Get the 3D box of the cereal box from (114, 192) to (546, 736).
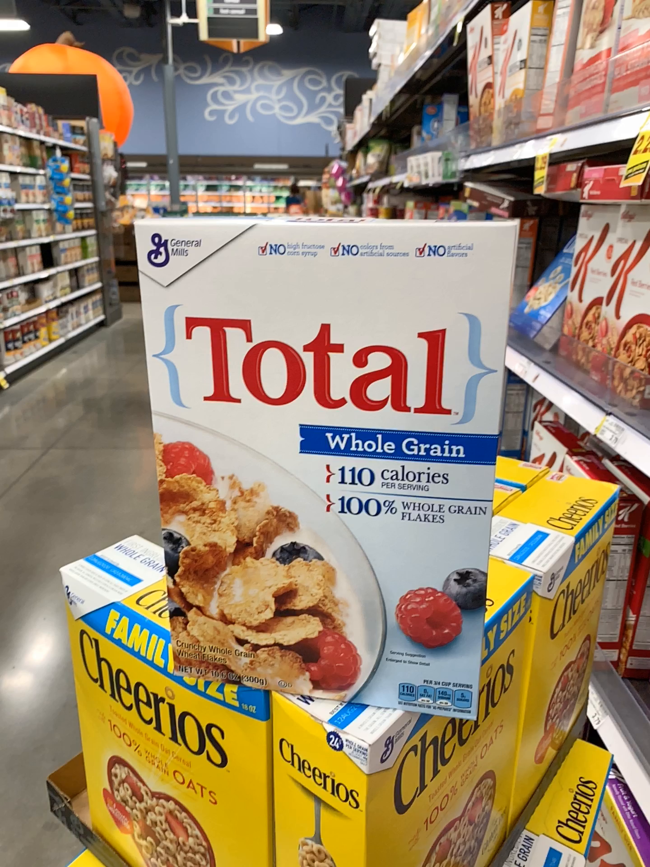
[{"bbox_3d":[0.003,0.020,0.390,0.210,0.299,0.050,4,19,12],"label":"cereal box"}]
